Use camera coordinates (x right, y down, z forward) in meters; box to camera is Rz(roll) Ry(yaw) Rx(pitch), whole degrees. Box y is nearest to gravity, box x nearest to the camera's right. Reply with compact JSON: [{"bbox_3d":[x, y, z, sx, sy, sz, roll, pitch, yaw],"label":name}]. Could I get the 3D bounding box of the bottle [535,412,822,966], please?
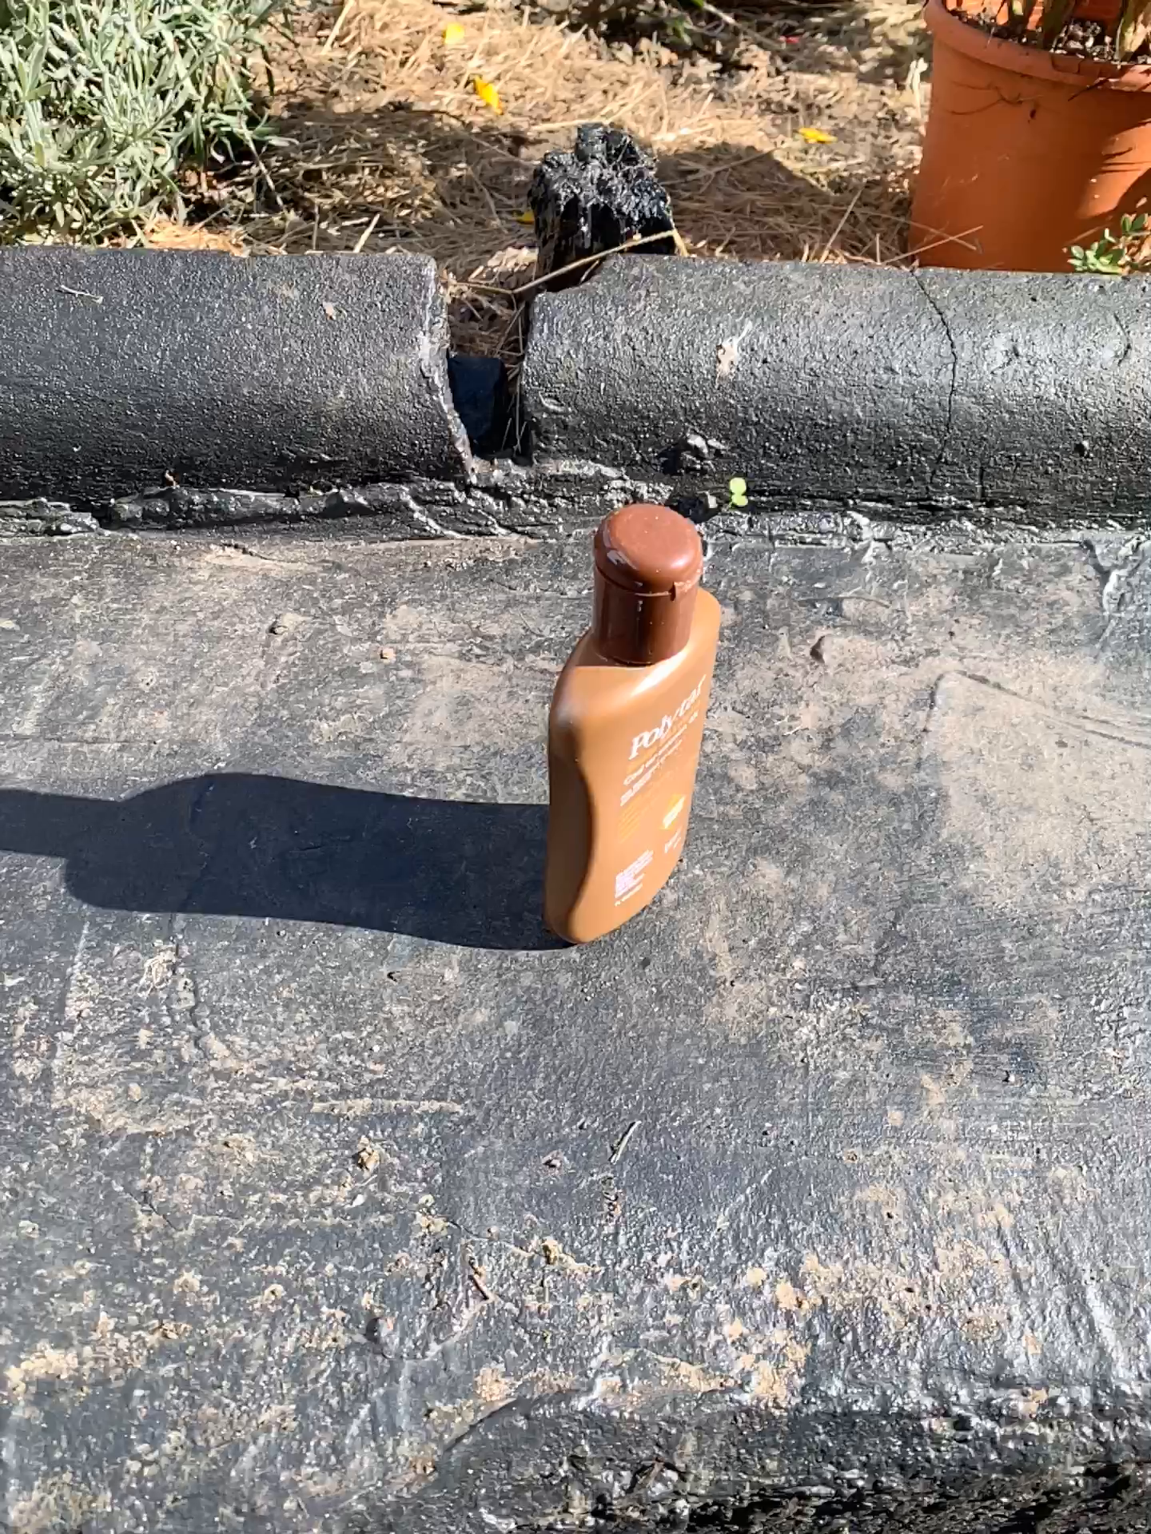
[{"bbox_3d":[0.025,-0.016,0.347,0.040,0.149,0.070,28,53,21],"label":"bottle"}]
